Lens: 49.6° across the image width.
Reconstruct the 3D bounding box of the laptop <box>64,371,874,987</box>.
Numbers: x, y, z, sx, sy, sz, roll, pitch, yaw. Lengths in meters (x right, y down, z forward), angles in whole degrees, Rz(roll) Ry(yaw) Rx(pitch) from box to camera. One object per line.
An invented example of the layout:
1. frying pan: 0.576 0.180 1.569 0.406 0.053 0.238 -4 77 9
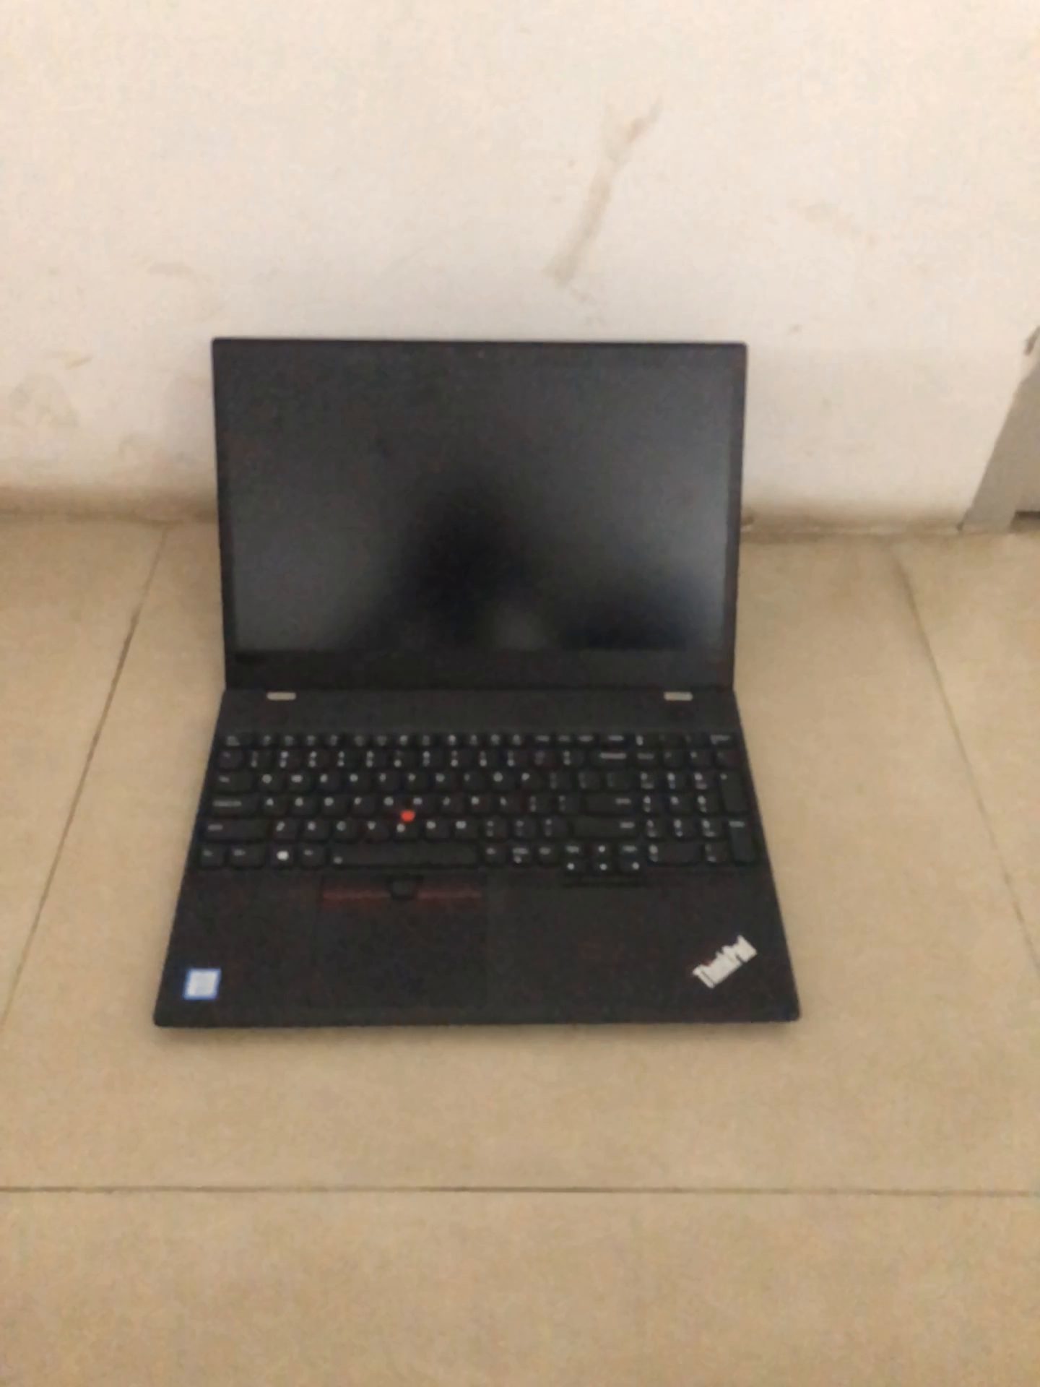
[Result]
1. laptop: -0.031 -0.023 0.687 0.344 0.192 0.365 0 42 -4
